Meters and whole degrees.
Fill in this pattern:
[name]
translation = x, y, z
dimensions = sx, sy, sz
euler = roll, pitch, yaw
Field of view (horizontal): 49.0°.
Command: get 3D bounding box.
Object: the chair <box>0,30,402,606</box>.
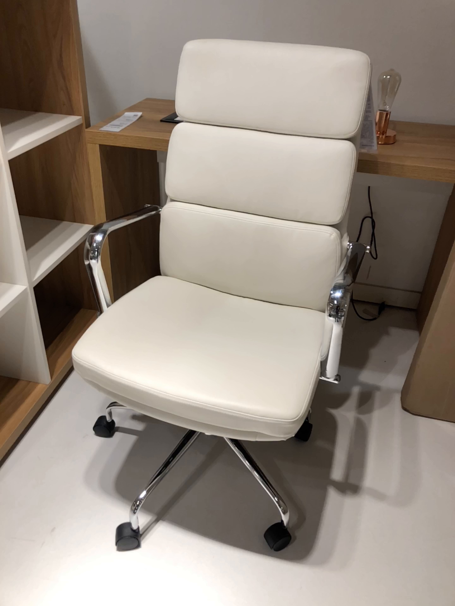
[chair]
translation = -0.046, -0.005, 1.159
dimensions = 0.640, 1.032, 0.685
euler = 10, 34, 12
